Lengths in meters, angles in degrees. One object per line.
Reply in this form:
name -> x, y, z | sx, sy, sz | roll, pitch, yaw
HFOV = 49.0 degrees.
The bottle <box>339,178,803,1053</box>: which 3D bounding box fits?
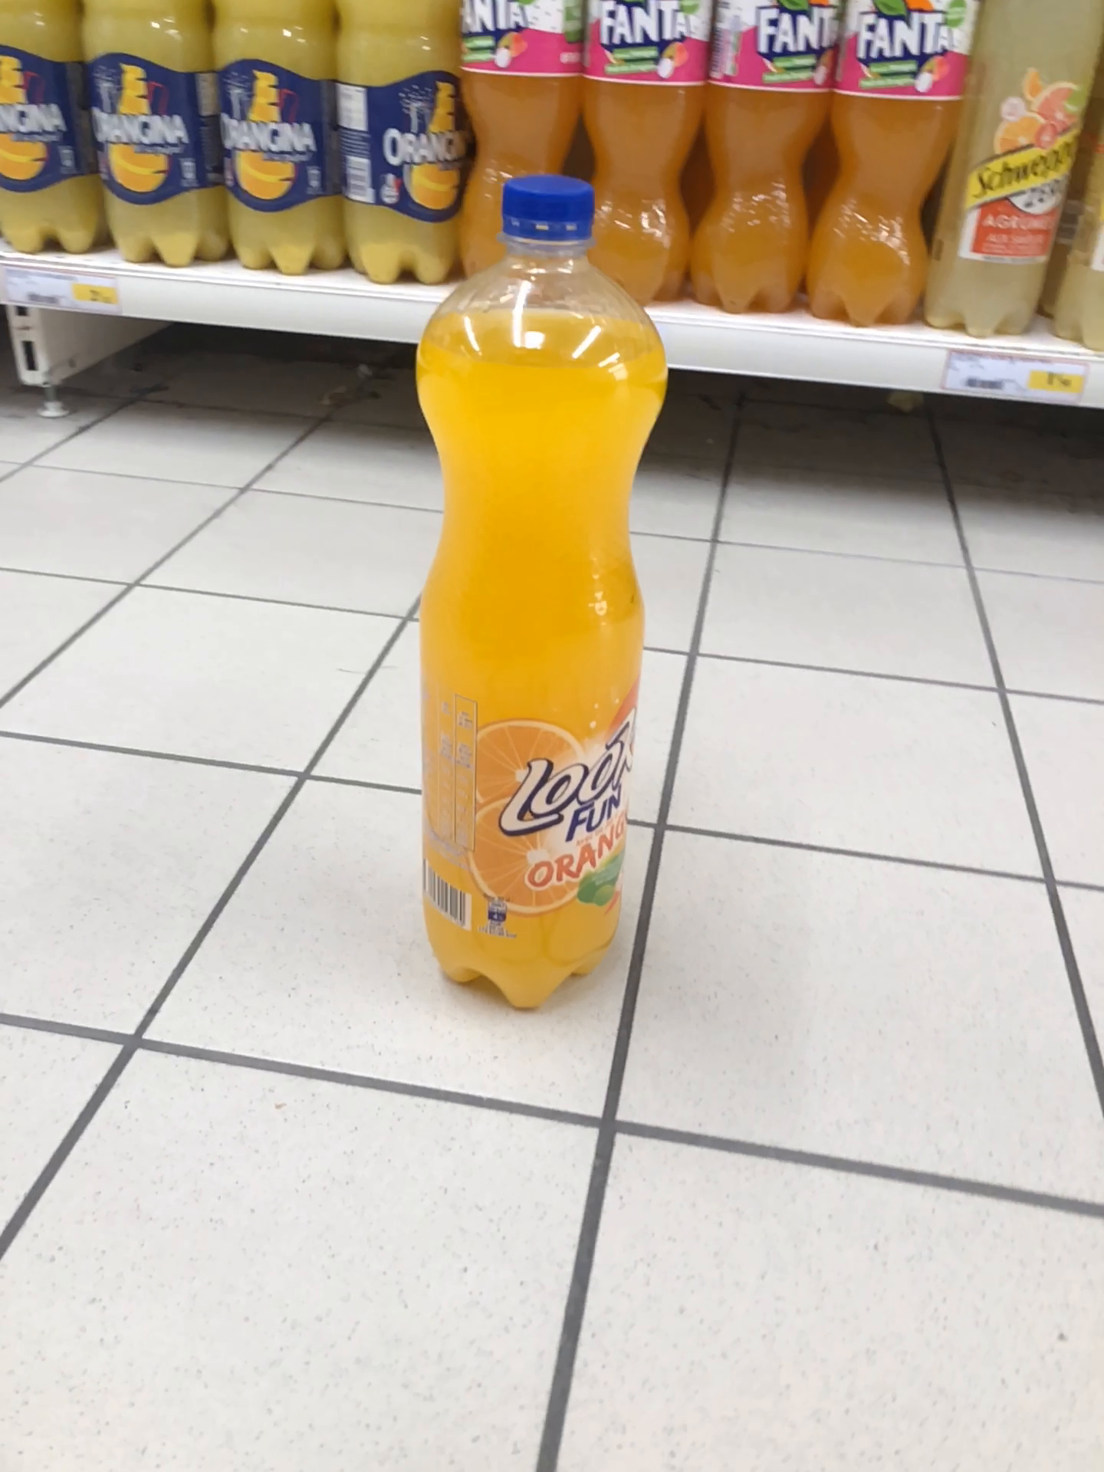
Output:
bottle -> -0.002, -0.041, 0.460 | 0.110, 0.298, 0.100 | -18, 36, -30
